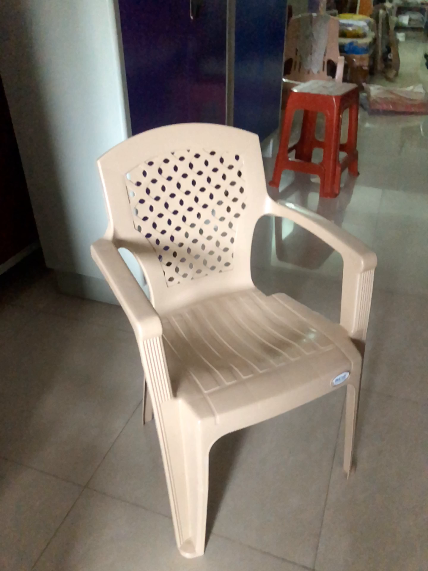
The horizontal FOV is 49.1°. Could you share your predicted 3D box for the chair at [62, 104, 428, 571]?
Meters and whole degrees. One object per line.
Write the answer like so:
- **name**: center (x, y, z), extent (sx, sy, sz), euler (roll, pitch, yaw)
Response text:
- **chair**: center (0.053, 0.085, 1.093), extent (0.541, 0.795, 0.562), euler (-16, 37, -21)
